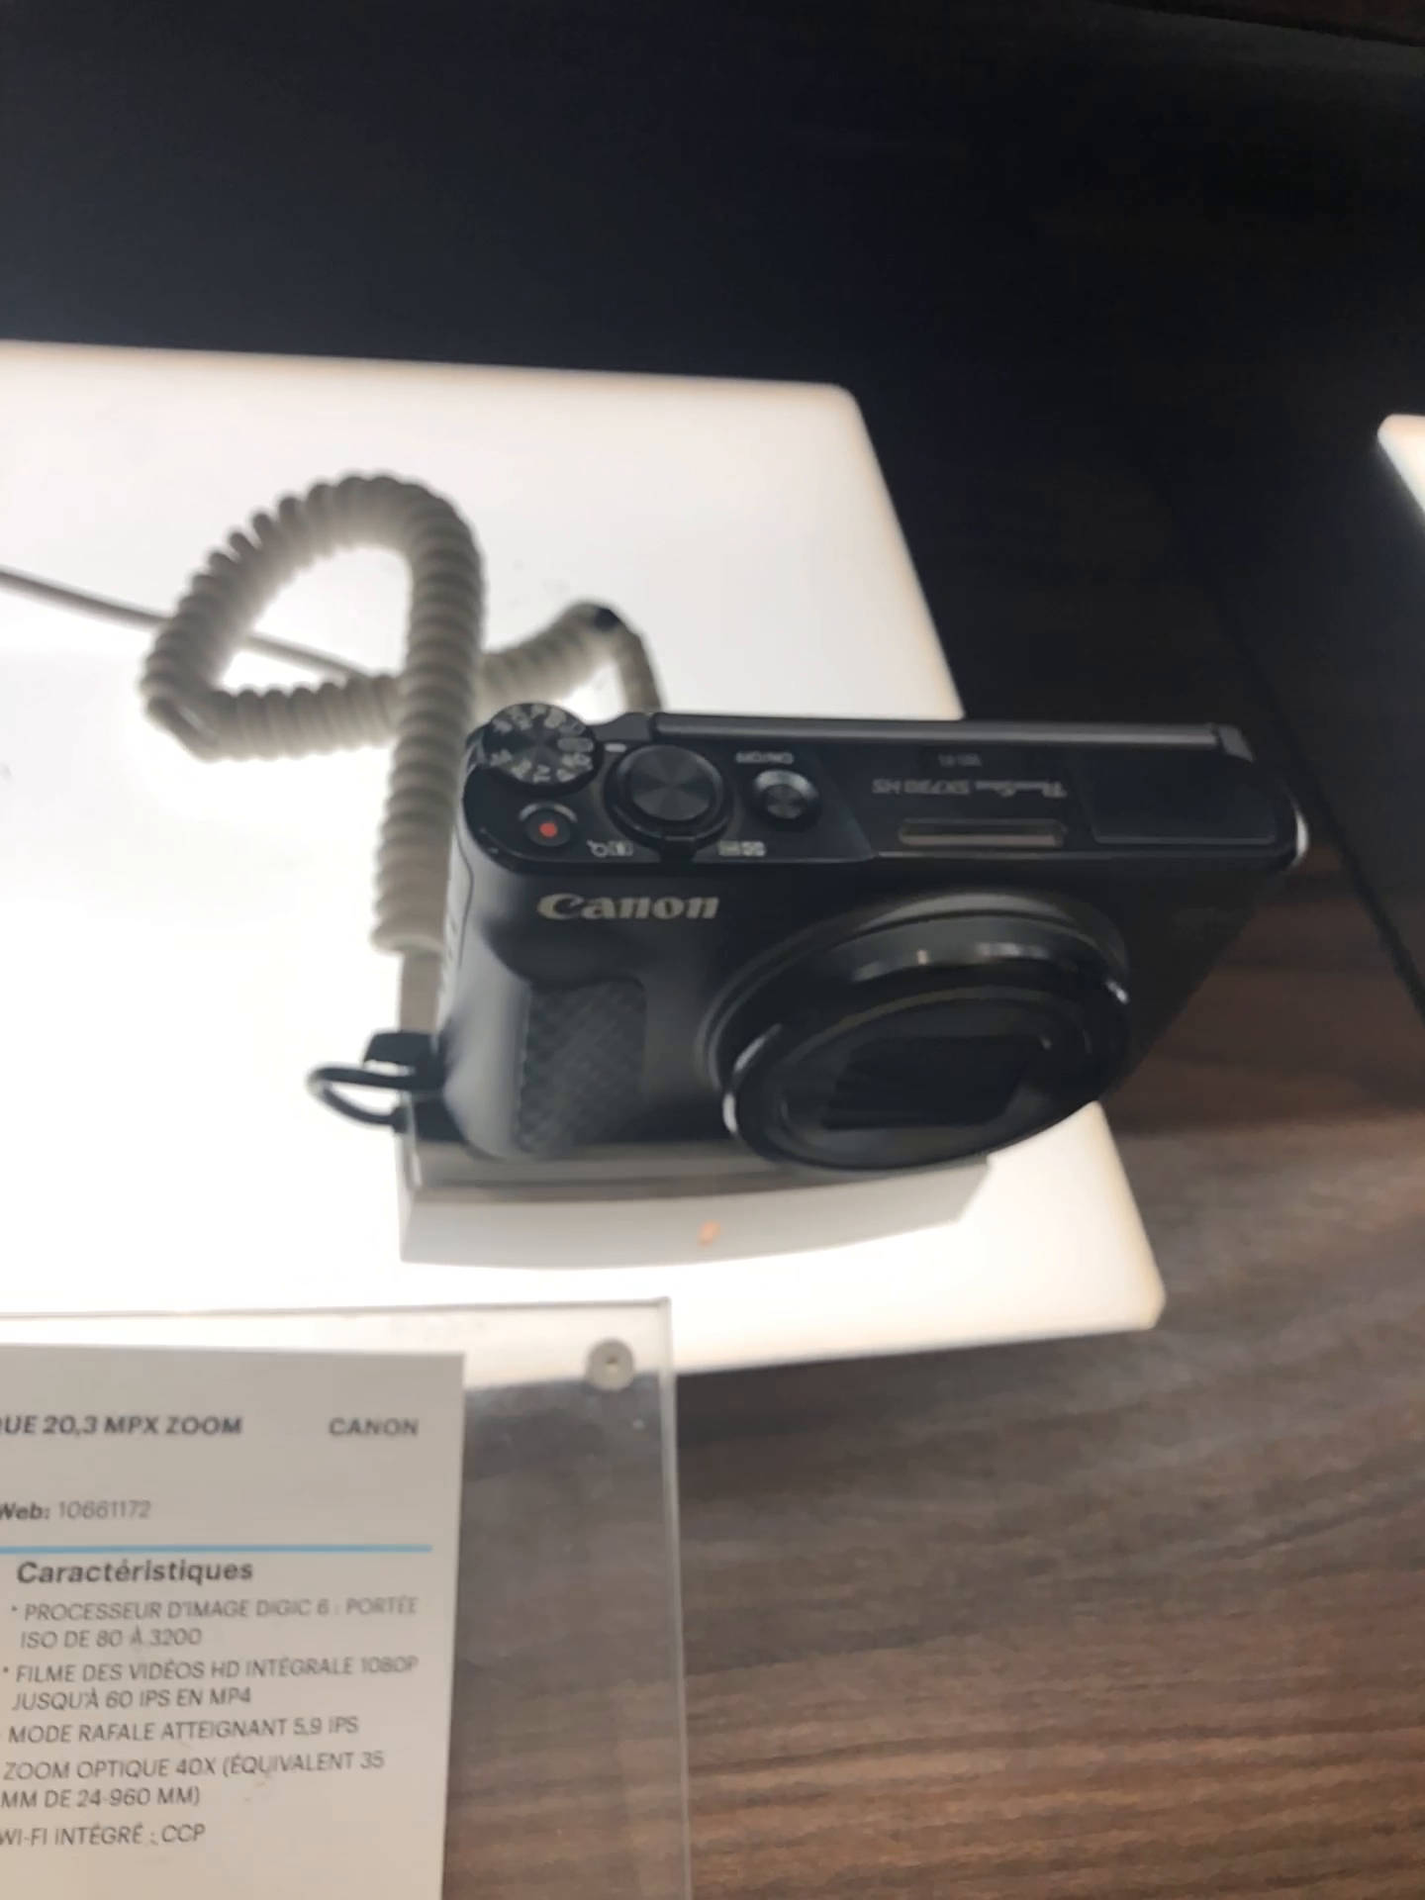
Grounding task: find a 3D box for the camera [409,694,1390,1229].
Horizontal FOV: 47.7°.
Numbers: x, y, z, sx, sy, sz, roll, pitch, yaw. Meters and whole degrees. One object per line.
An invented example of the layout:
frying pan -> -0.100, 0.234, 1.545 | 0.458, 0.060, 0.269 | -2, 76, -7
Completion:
camera -> 0.018, 0.003, 0.221 | 0.114, 0.070, 0.034 | -1, 54, -14
